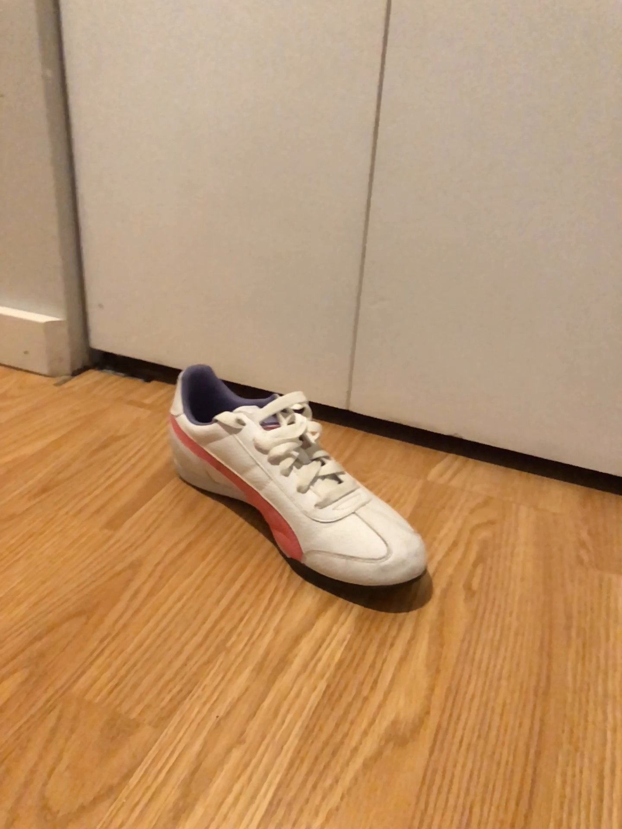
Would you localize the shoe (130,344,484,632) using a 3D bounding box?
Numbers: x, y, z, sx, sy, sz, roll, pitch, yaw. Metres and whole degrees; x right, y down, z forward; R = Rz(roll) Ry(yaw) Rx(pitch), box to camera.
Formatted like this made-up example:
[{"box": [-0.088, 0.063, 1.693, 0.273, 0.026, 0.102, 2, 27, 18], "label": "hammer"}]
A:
[{"box": [-0.017, 0.035, 0.514, 0.260, 0.080, 0.100, 27, 35, 37], "label": "shoe"}]
